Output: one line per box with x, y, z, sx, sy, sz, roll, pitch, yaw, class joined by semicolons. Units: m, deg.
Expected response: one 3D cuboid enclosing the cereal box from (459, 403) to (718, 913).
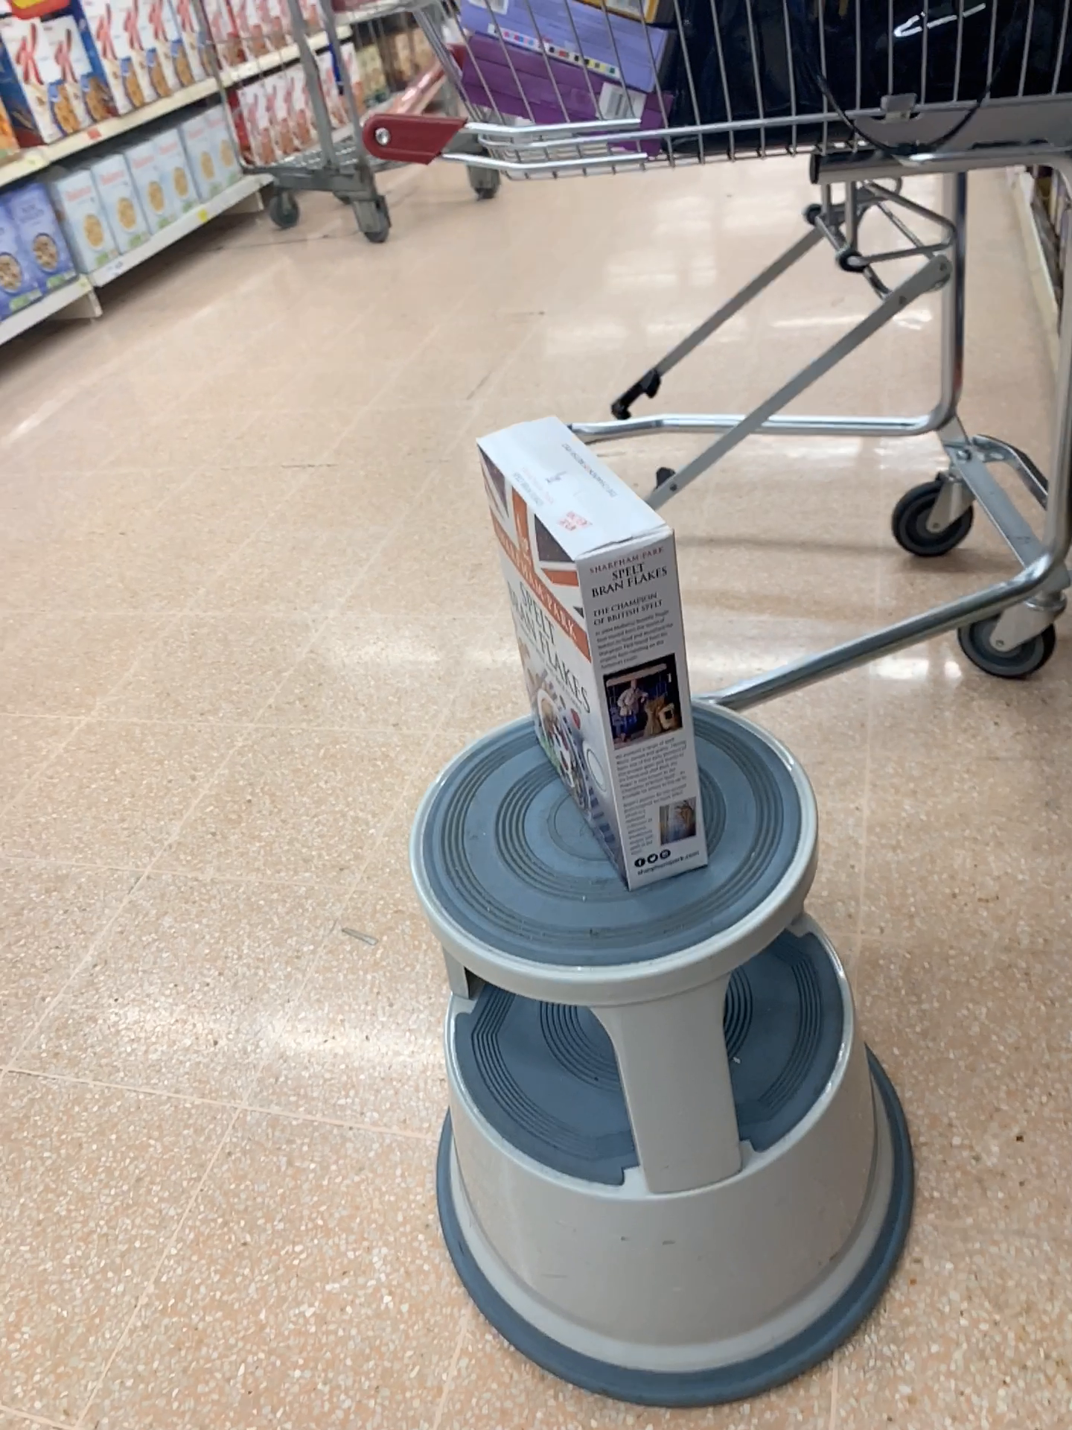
0.034;-0.039;0.715;0.070;0.258;0.202;-18;37;-8;cereal box
